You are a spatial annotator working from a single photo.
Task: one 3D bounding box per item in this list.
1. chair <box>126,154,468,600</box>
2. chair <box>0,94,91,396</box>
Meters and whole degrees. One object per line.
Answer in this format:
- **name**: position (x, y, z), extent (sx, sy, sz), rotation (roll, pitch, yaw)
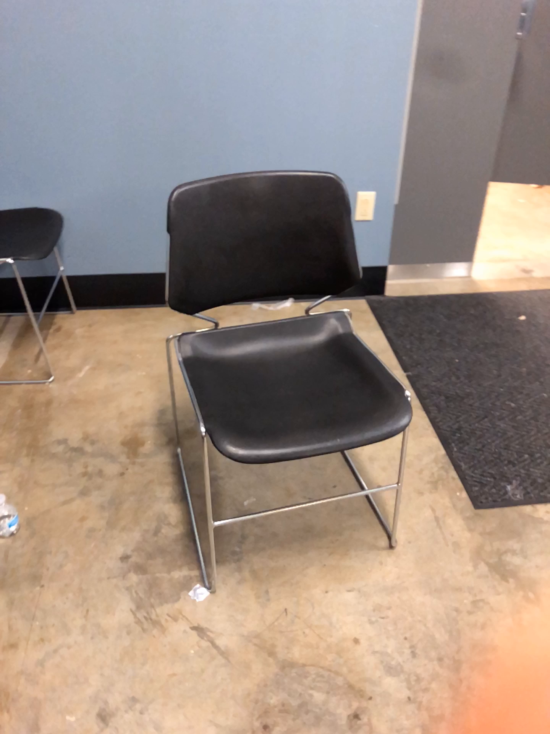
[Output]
- **chair**: position (-0.003, 0.002, 1.416), extent (0.531, 0.799, 0.546), rotation (-9, 35, -13)
- **chair**: position (-1.012, -0.407, 1.988), extent (0.595, 0.799, 0.552), rotation (-3, 34, -5)
